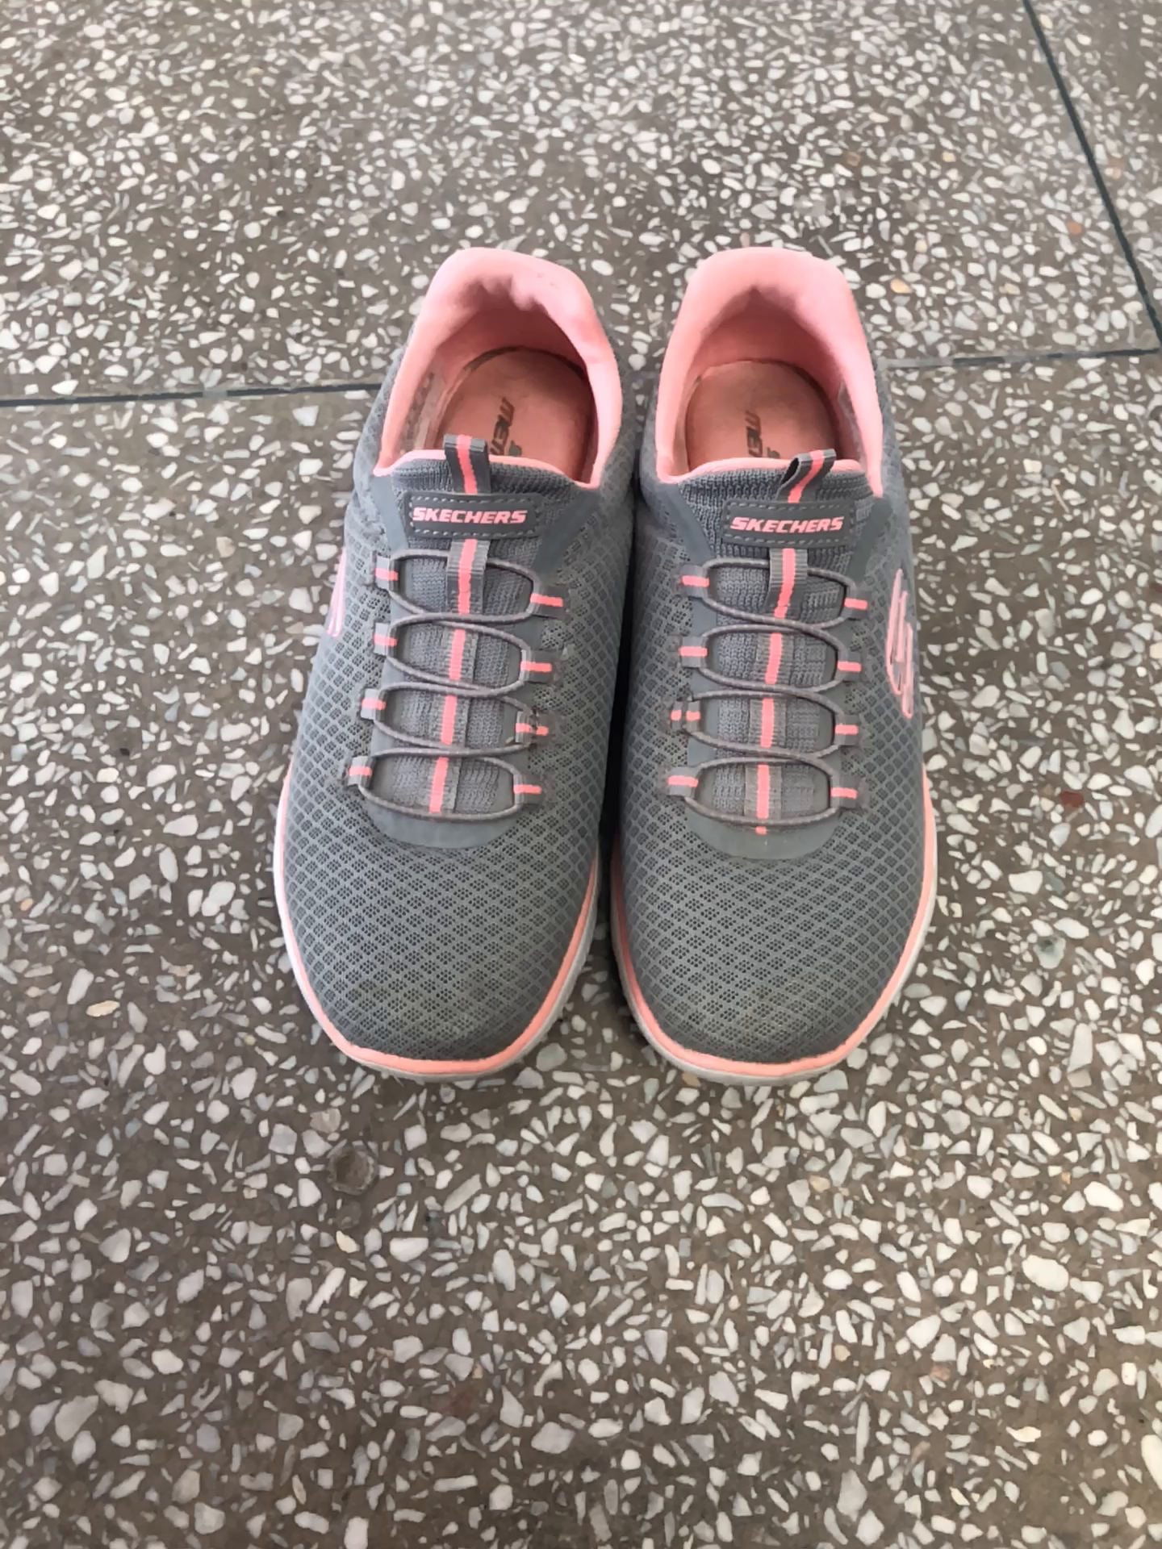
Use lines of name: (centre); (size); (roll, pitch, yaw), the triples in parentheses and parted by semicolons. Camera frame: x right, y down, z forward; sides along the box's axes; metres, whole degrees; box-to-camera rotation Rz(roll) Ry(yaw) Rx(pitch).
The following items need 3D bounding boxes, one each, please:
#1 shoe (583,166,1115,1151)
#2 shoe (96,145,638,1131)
shoe: (0.060, -0.036, 0.359); (0.102, 0.108, 0.247); (4, 63, 0)
shoe: (-0.041, -0.044, 0.355); (0.097, 0.095, 0.253); (4, 63, 0)
